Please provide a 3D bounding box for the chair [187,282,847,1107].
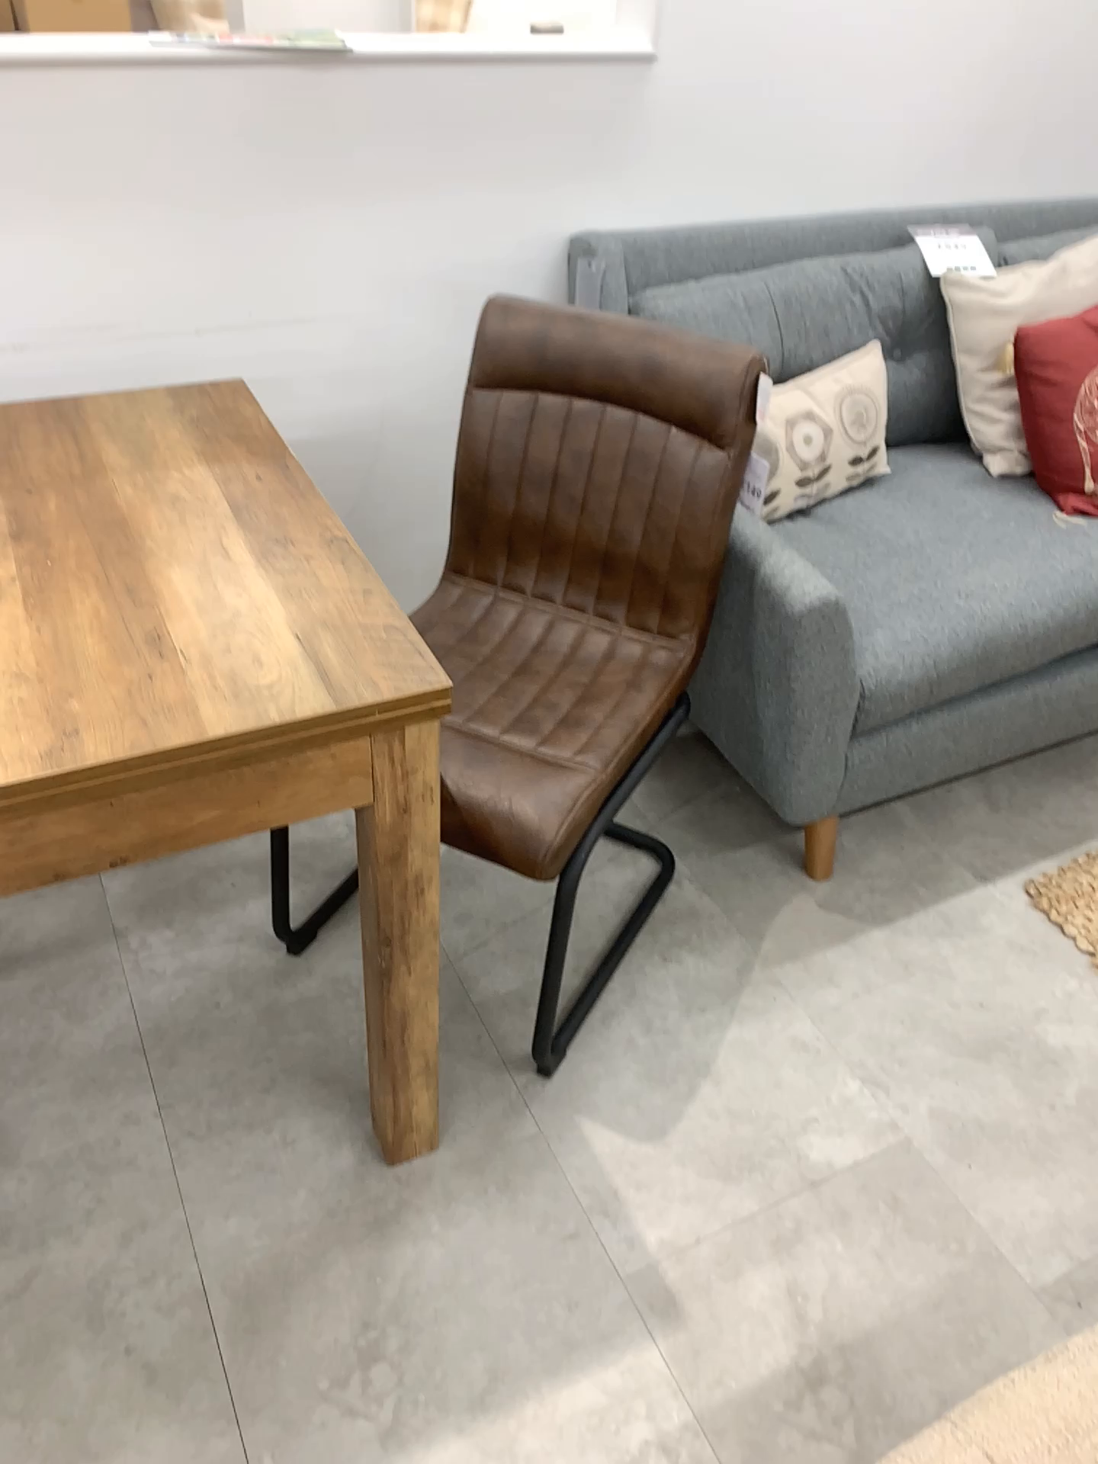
[{"bbox_3d":[-0.016,-0.081,1.497,0.498,0.773,0.637,20,40,20],"label":"chair"}]
